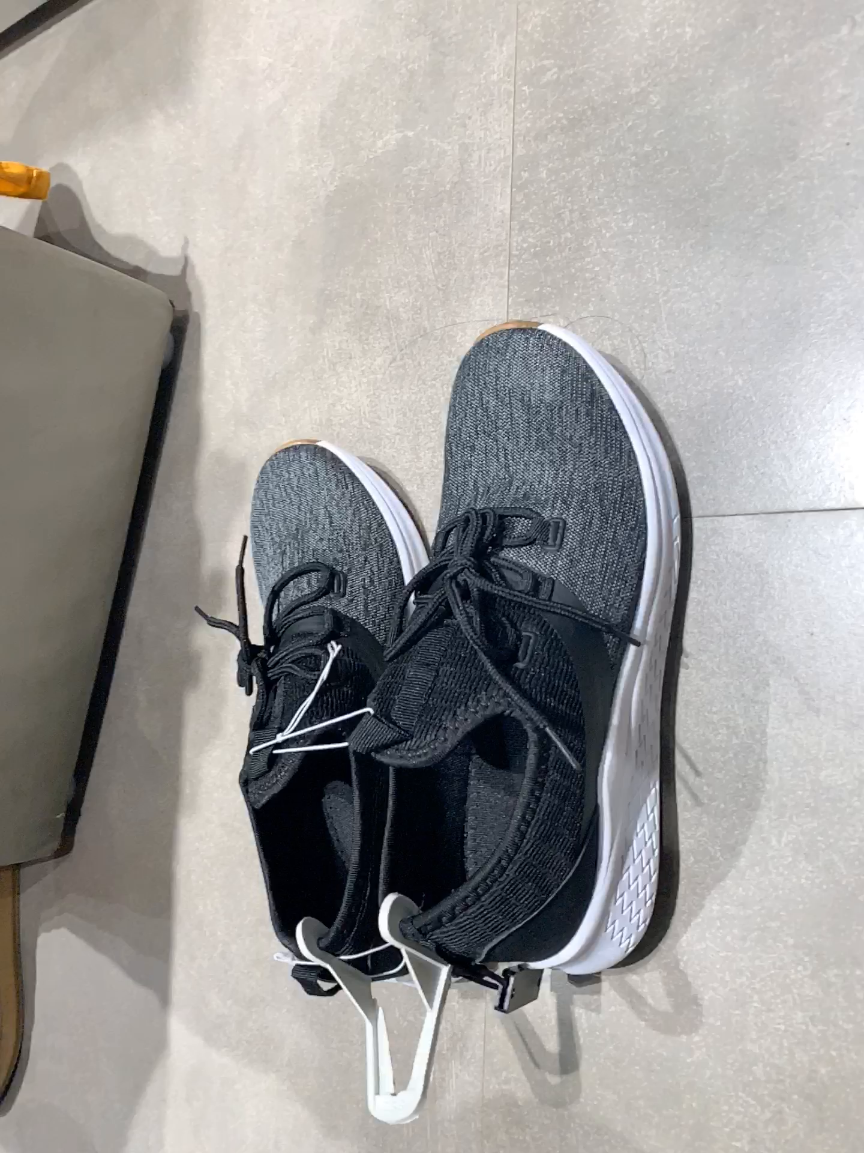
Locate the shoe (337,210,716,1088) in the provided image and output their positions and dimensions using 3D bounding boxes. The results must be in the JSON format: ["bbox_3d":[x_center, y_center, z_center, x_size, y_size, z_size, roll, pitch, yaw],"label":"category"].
[{"bbox_3d":[0.035,0.024,0.352,0.108,0.096,0.278,-6,83,38],"label":"shoe"}]

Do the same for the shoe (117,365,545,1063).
[{"bbox_3d":[-0.055,0.059,0.418,0.107,0.096,0.278,-27,70,34],"label":"shoe"}]
